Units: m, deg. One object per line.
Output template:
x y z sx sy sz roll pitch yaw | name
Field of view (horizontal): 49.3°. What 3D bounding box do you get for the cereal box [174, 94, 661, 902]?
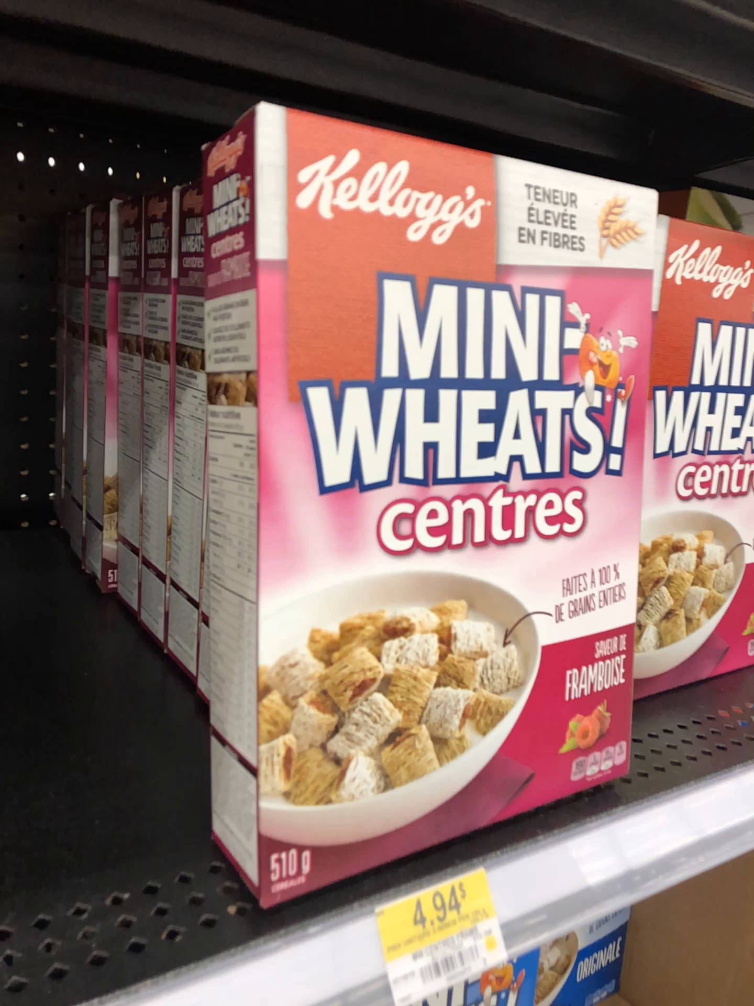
0.021 -0.005 0.343 0.190 0.259 0.070 -4 9 -34 | cereal box
